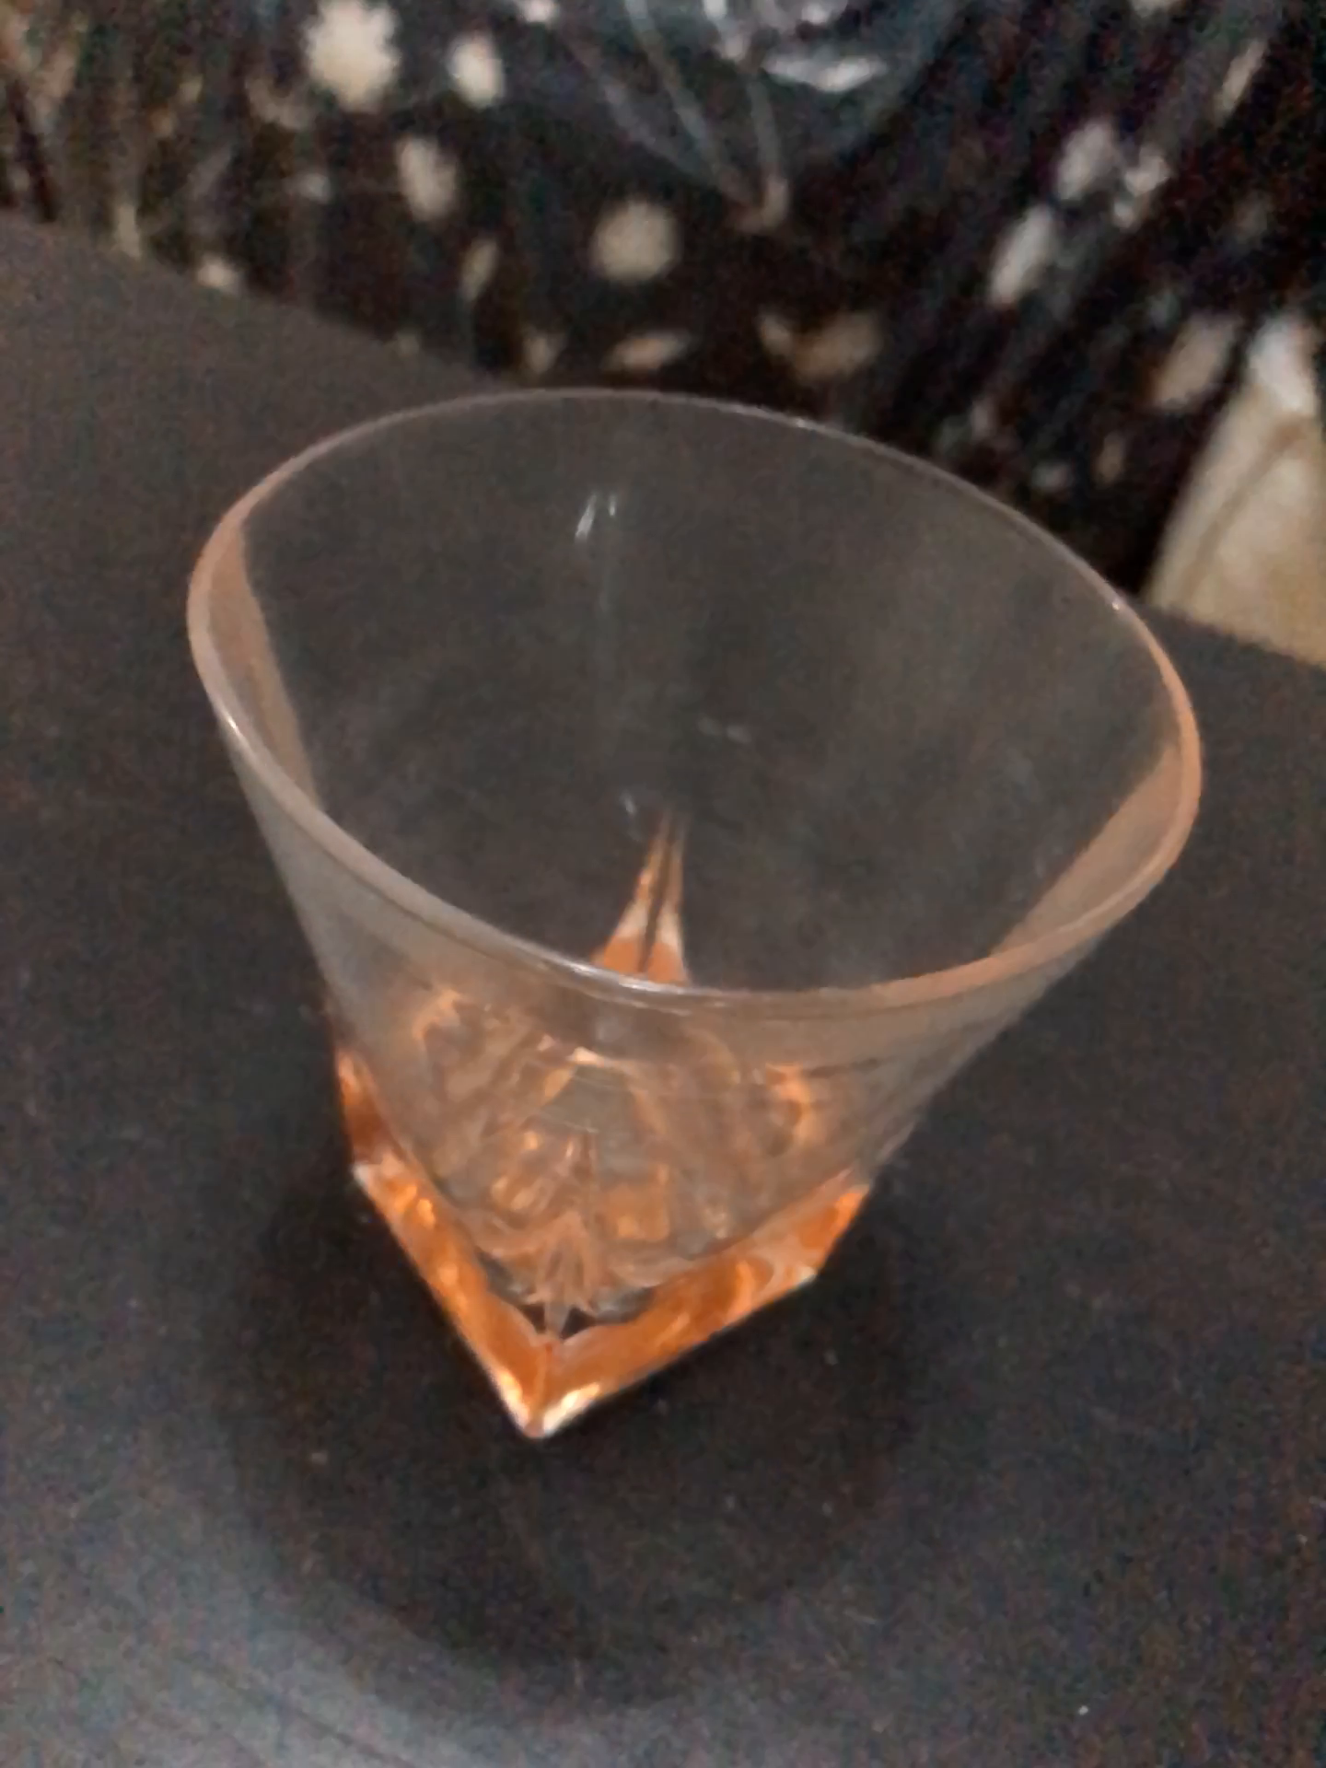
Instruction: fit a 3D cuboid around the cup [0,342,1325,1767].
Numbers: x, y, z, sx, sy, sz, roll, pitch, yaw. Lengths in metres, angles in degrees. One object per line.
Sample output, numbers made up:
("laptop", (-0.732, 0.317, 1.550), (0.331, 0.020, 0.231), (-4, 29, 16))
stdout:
("cup", (-0.006, 0.011, 0.183), (0.110, 0.099, 0.110), (6, 42, -6))
